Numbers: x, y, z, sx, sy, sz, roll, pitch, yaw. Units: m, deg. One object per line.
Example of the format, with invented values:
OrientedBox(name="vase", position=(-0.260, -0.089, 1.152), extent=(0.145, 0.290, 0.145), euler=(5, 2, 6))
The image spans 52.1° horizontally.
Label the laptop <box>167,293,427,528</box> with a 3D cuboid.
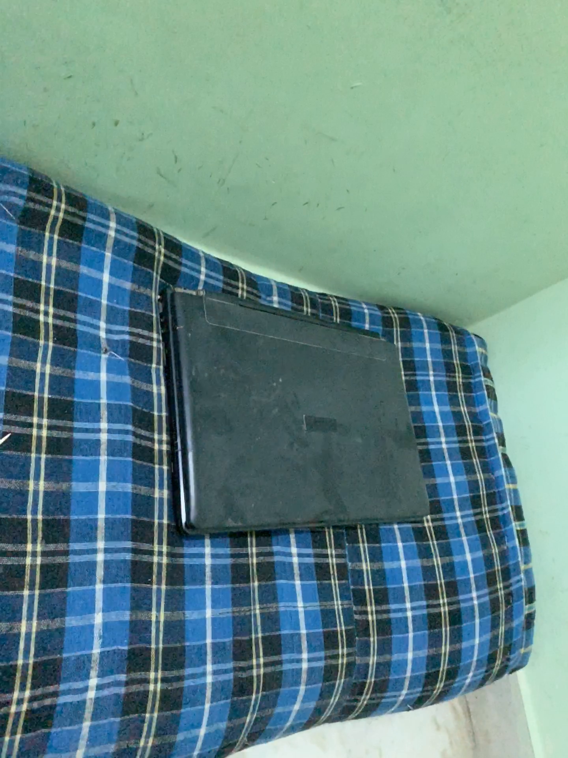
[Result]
OrientedBox(name="laptop", position=(0.030, 0.037, 0.620), extent=(0.325, 0.005, 0.216), euler=(7, 66, -40))
